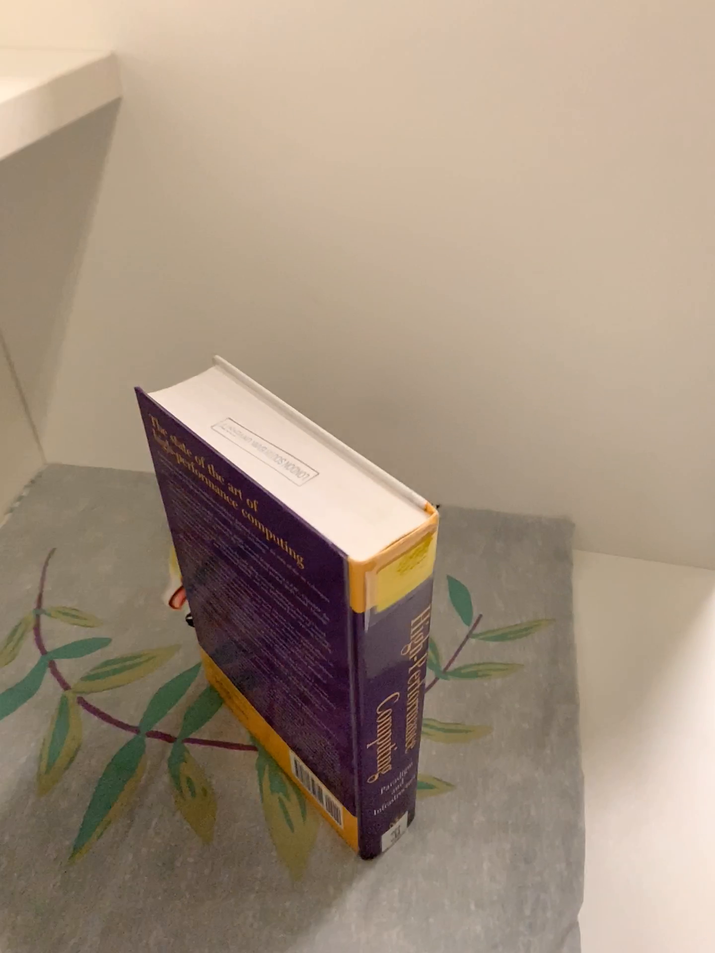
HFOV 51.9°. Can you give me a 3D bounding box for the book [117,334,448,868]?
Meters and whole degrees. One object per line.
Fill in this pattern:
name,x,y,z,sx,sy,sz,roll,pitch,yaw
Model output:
book,-0.036,0.071,0.388,0.049,0.243,0.169,-30,48,-29
